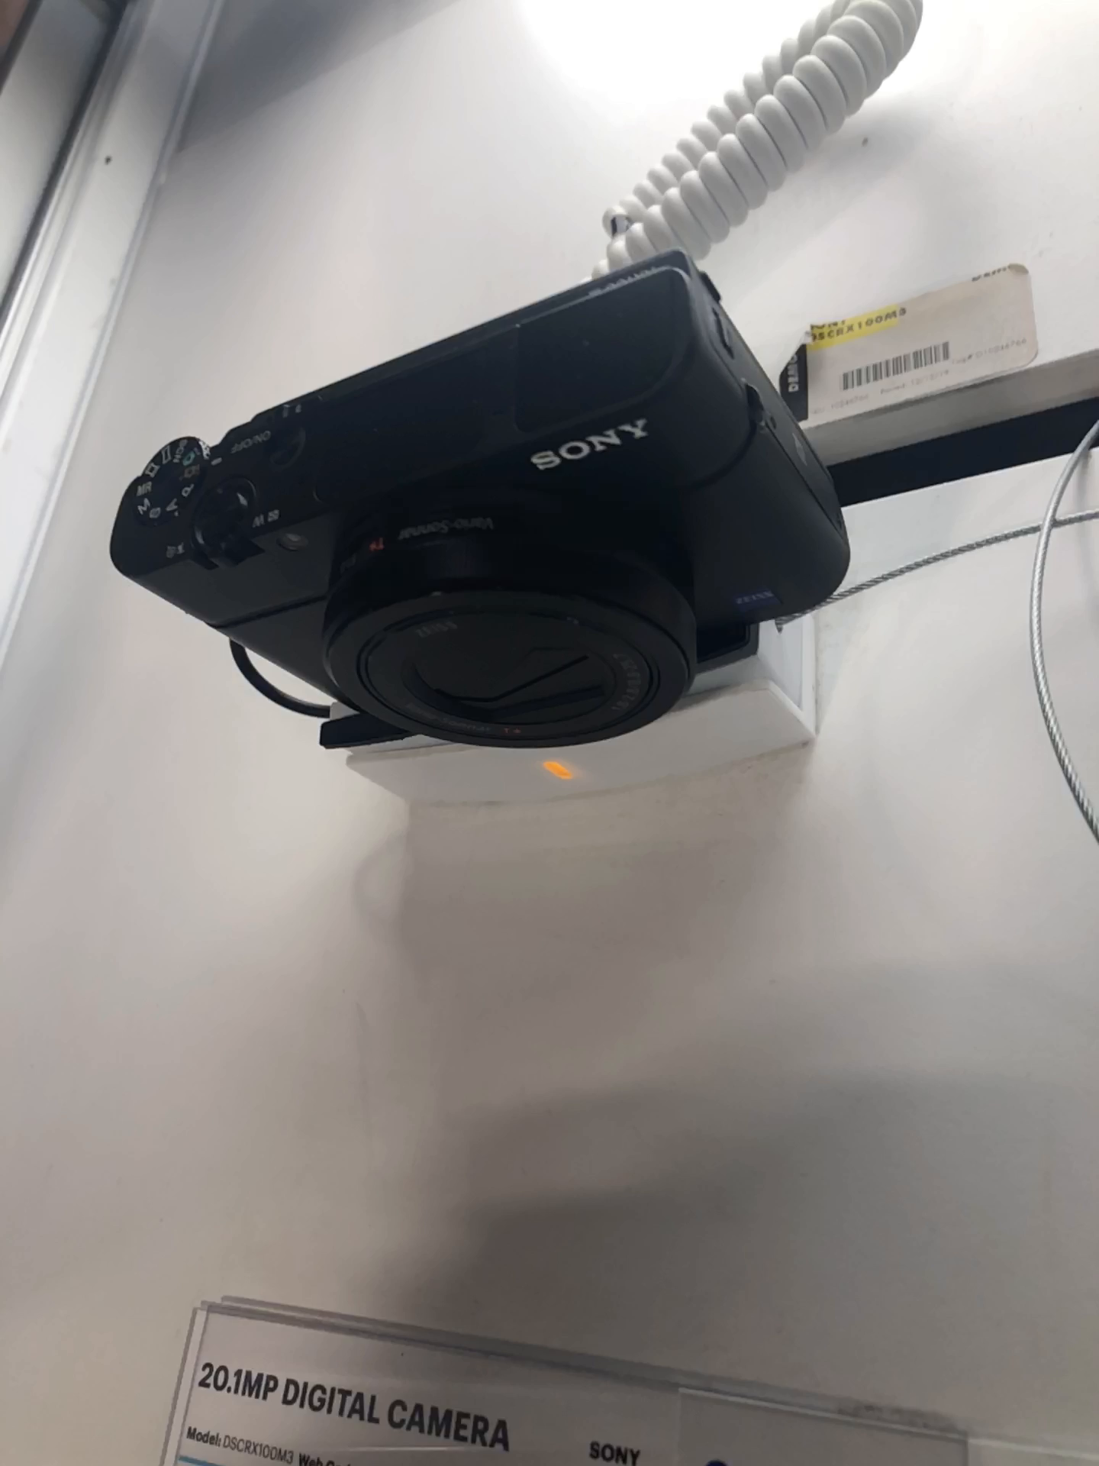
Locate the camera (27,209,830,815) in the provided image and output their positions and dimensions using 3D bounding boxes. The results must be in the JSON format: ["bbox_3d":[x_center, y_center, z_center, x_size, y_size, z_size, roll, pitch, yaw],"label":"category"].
[{"bbox_3d":[-0.018,-0.024,0.179,0.102,0.051,0.041,-12,59,30],"label":"camera"}]
